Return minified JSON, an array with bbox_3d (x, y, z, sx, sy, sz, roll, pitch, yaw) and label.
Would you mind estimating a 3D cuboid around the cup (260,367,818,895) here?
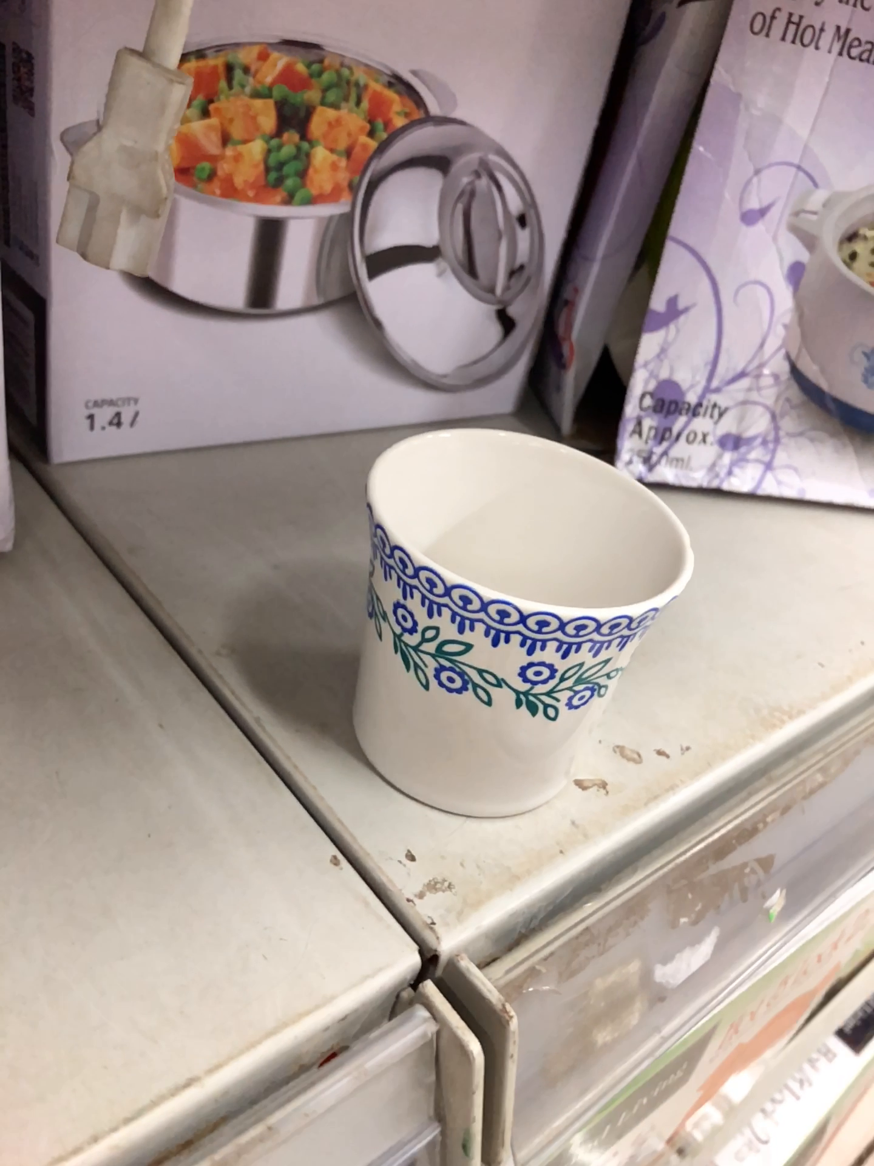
[{"bbox_3d":[0.024,0.003,0.233,0.070,0.070,0.101,36,39,29],"label":"cup"}]
